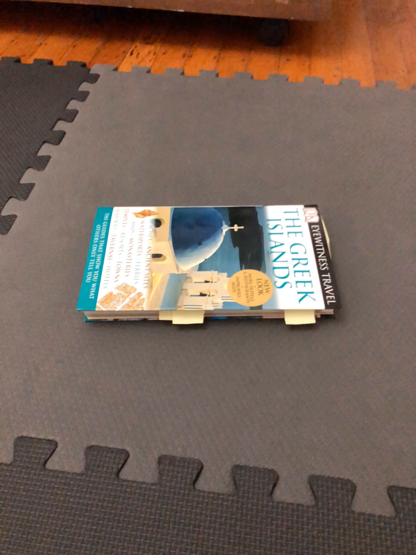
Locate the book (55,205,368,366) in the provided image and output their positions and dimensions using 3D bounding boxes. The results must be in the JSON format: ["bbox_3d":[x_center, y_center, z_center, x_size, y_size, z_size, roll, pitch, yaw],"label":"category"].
[{"bbox_3d":[0.004,0.000,0.418,0.240,0.030,0.161,1,49,0],"label":"book"}]
